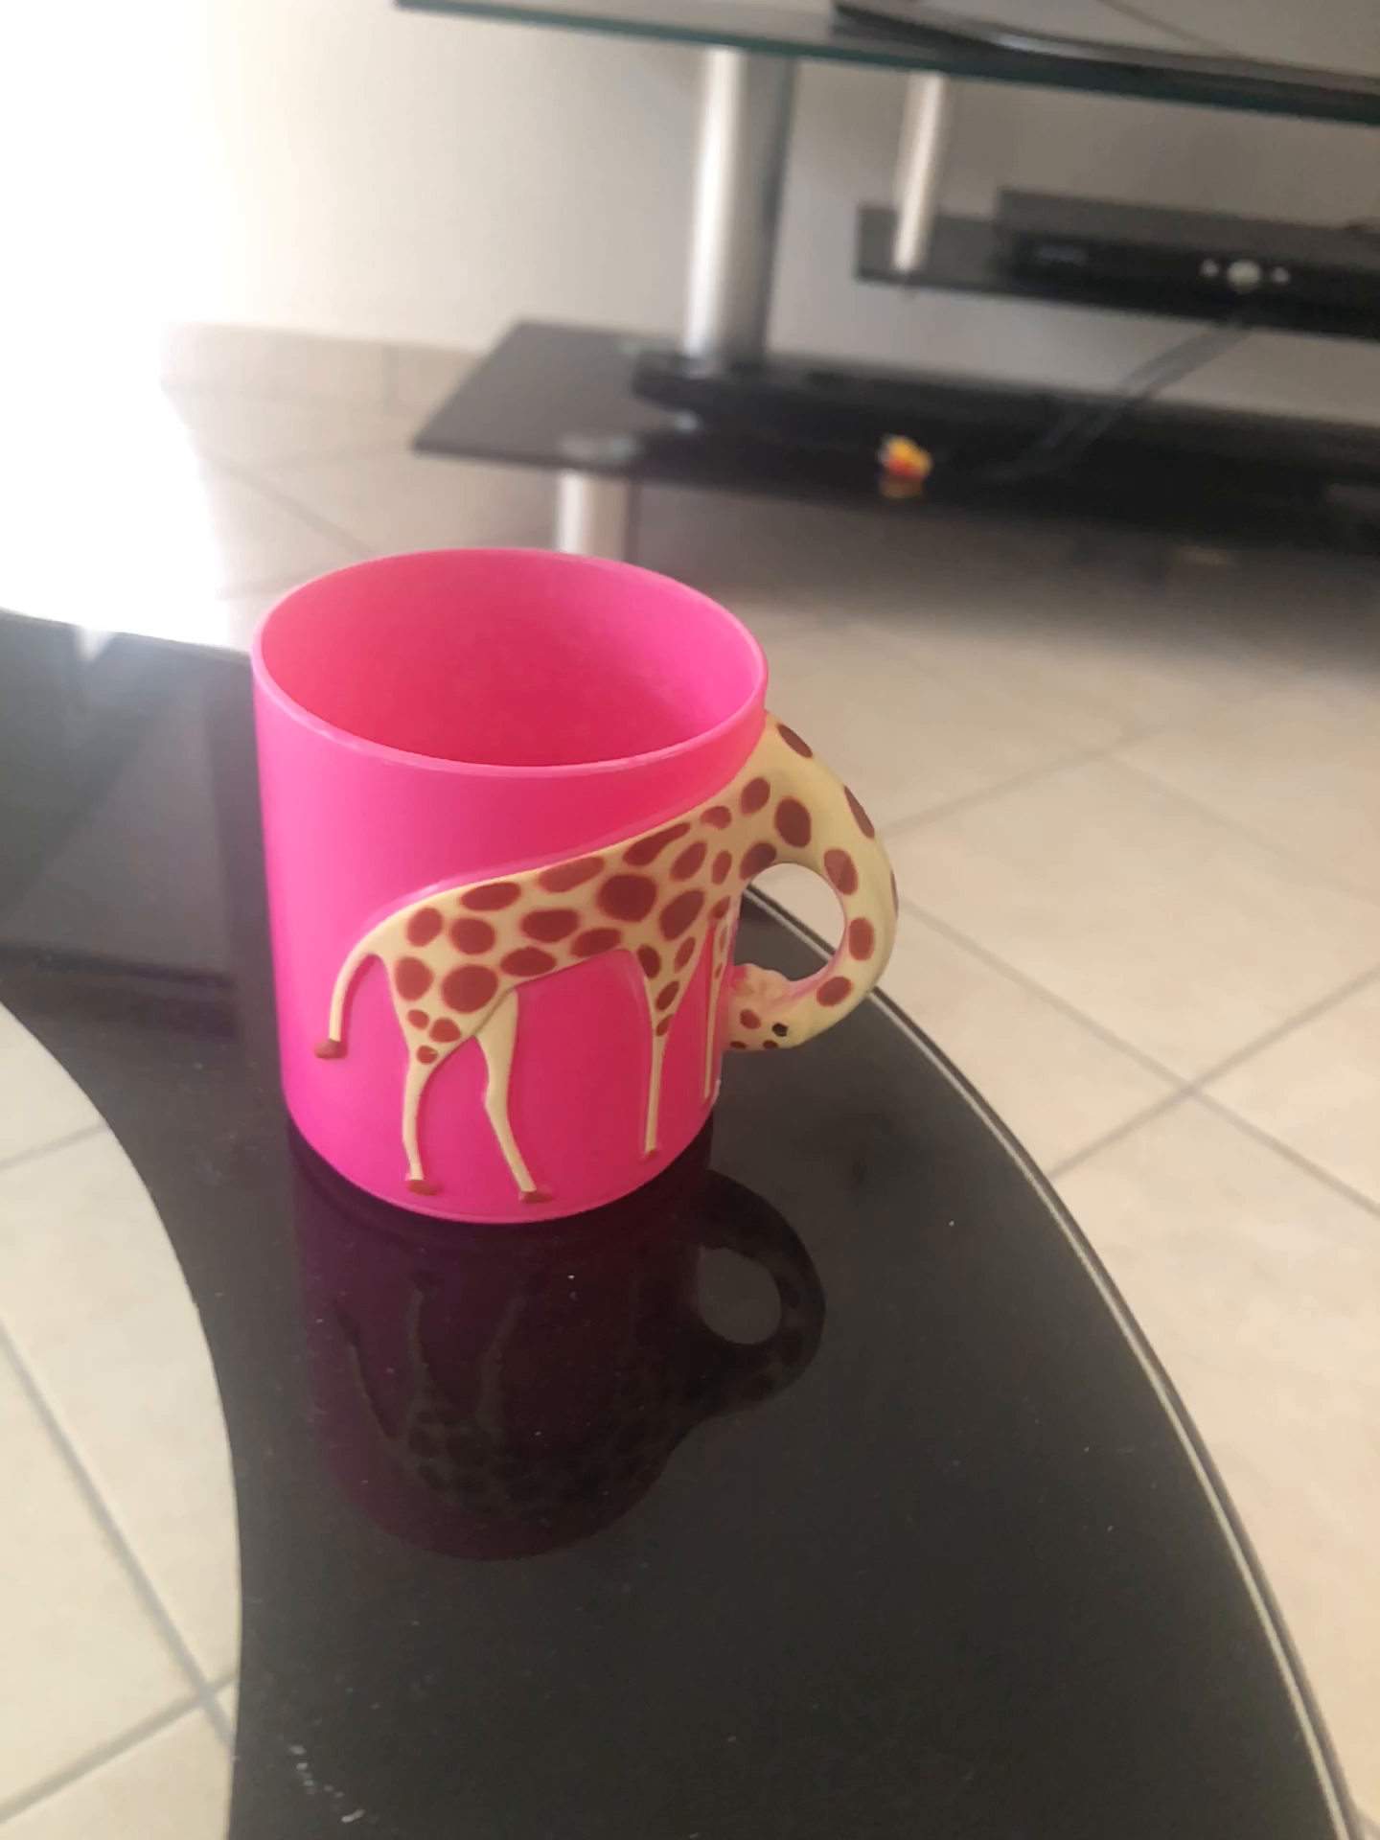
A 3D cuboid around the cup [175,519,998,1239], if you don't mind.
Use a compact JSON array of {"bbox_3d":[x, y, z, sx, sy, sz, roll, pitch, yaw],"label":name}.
[{"bbox_3d":[-0.015,-0.007,0.217,0.090,0.070,0.070,3,33,-5],"label":"cup"}]
